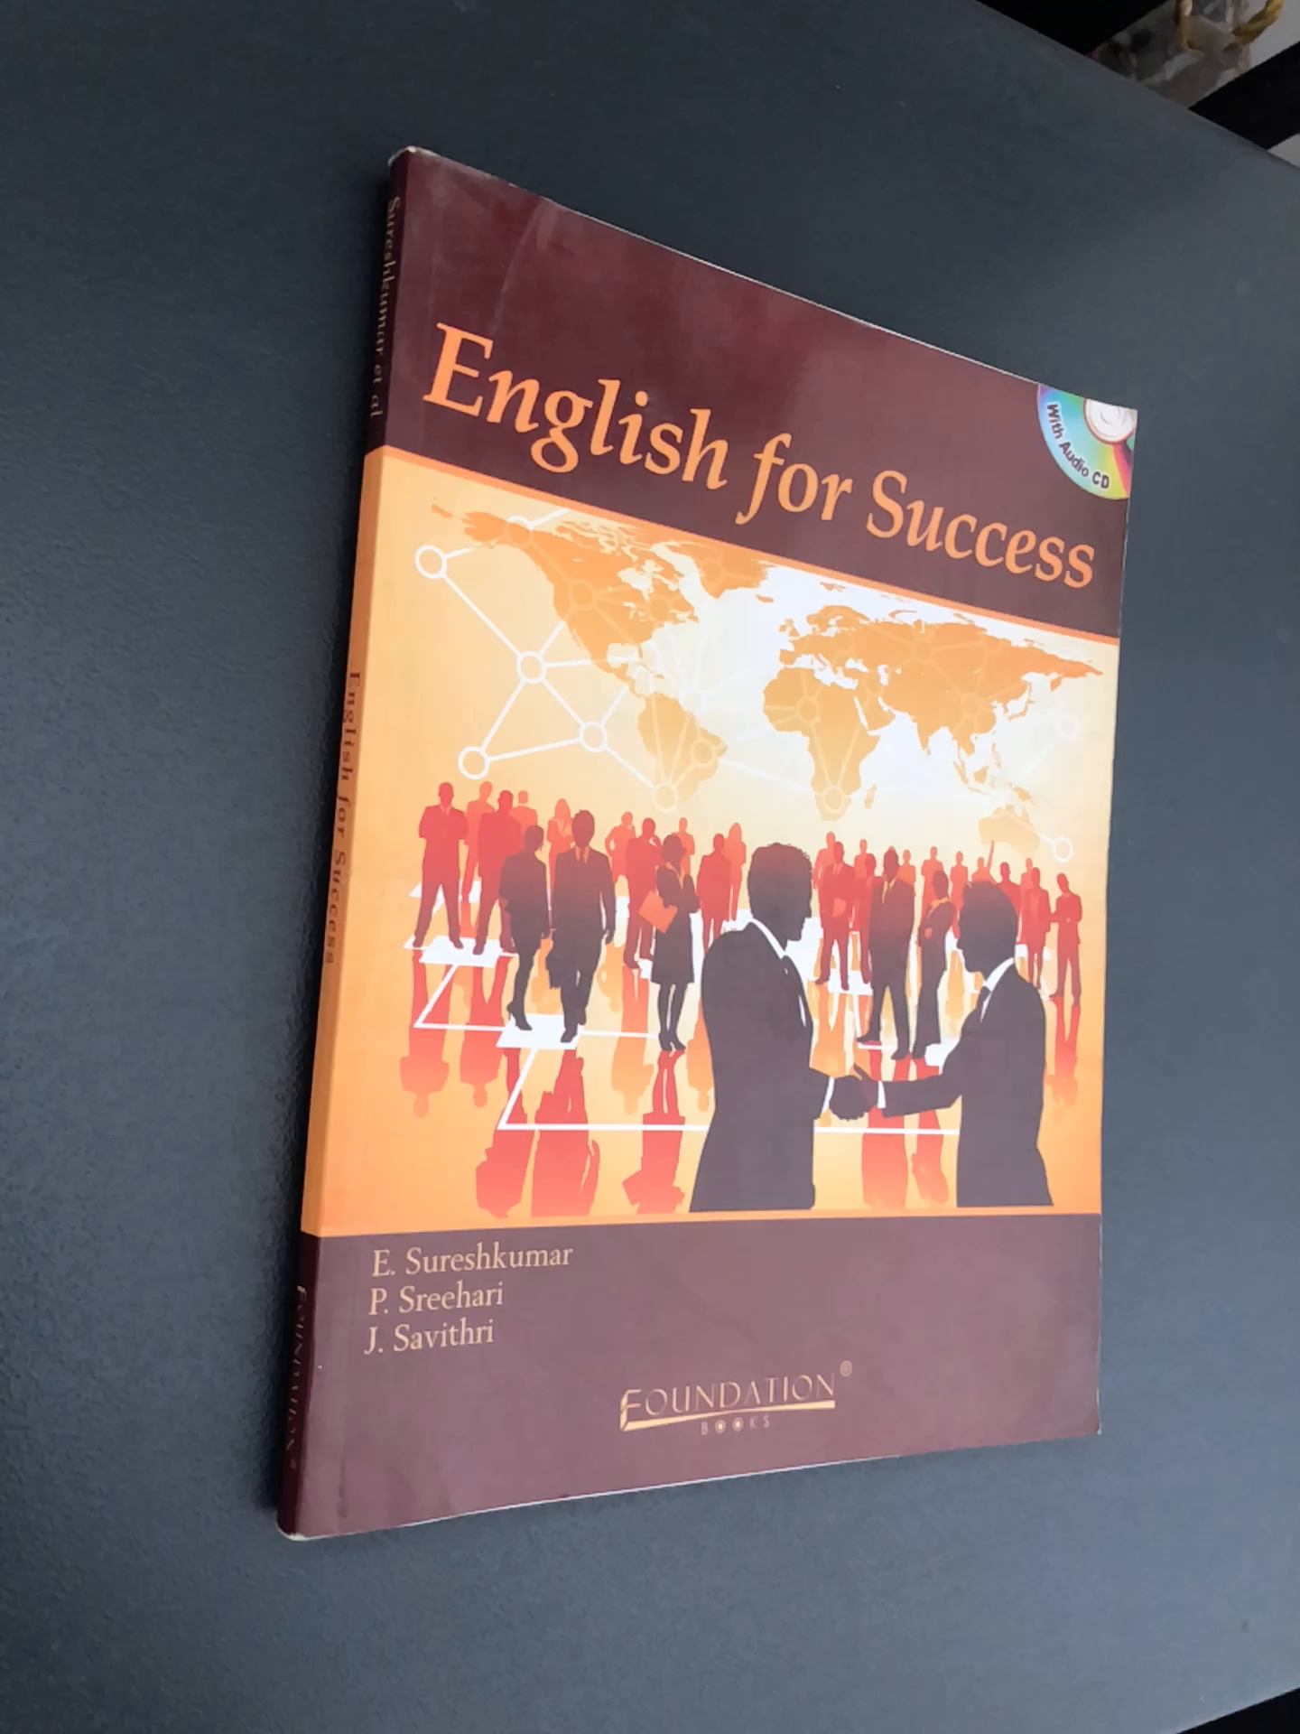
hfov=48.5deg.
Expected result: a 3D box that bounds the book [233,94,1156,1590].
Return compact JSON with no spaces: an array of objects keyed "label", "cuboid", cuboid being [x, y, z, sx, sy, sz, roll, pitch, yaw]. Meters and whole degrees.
[{"label":"book","cuboid":[0.025,-0.001,0.291,0.191,0.030,0.240,6,83,-31]}]
